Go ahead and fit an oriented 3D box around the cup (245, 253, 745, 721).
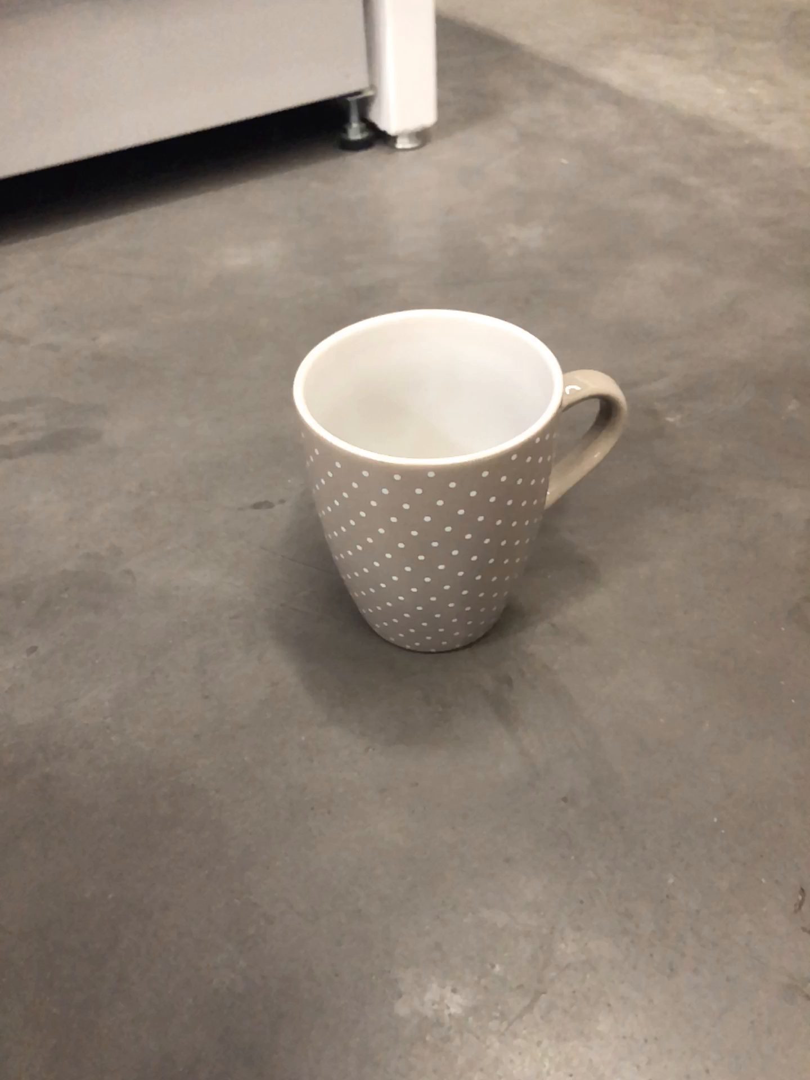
[{"bbox_3d":[0.030,-0.024,0.339,0.142,0.107,0.092,-20,46,-17],"label":"cup"}]
